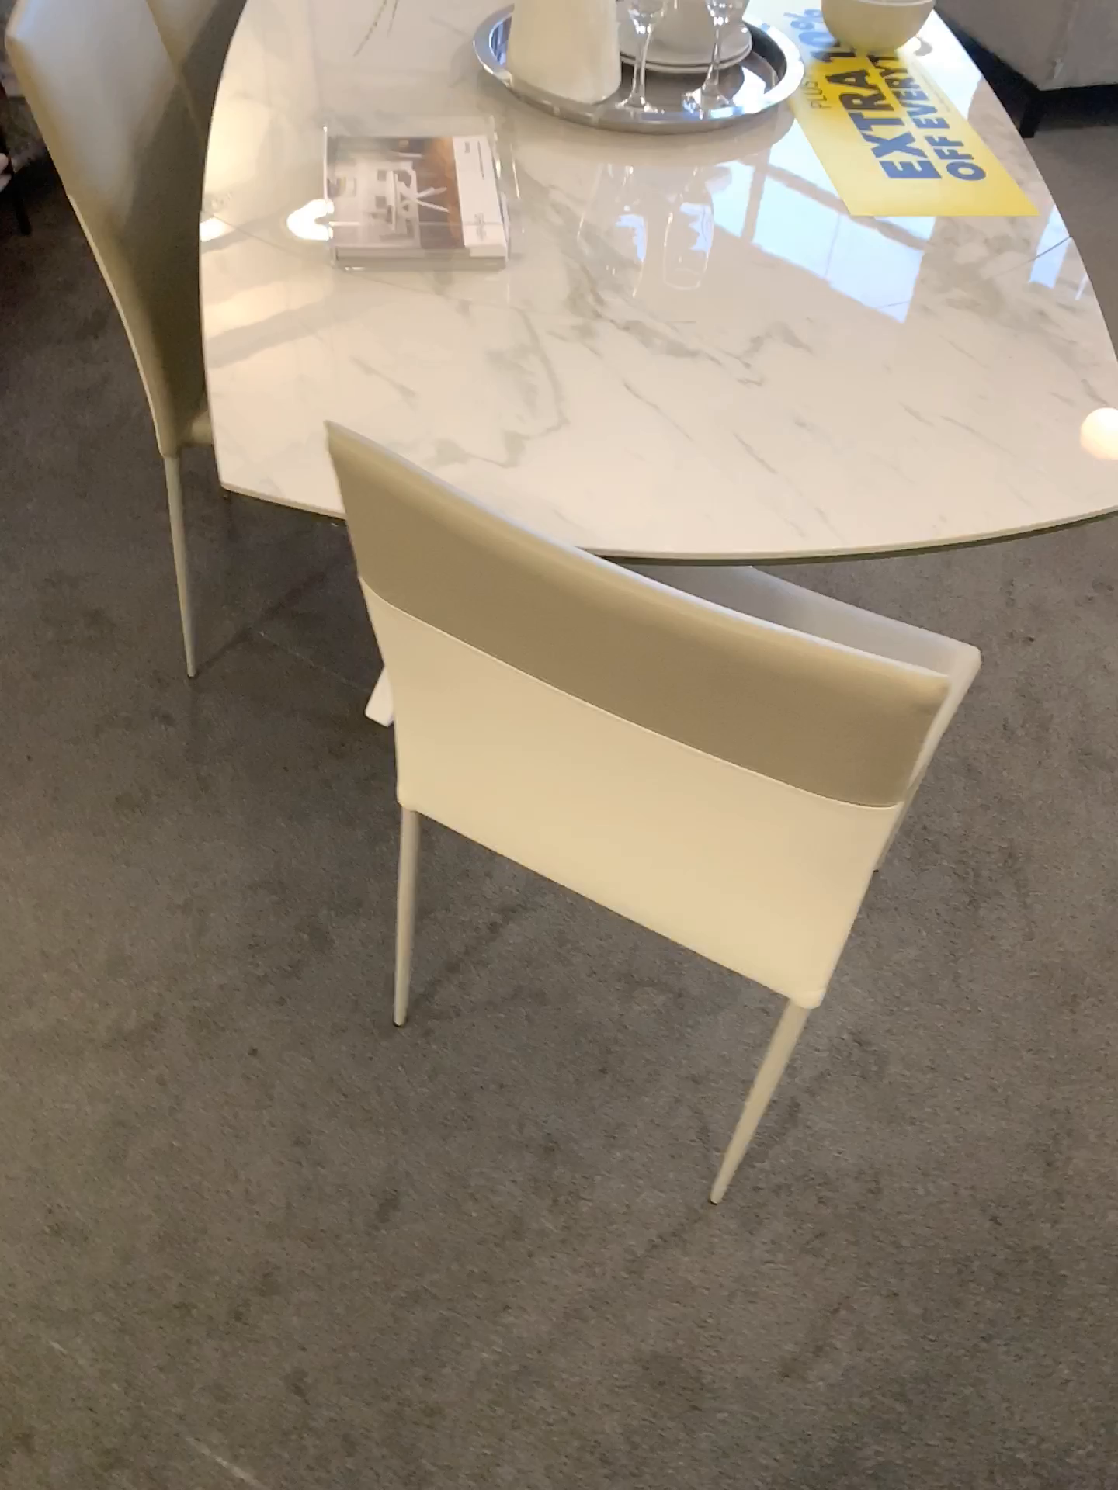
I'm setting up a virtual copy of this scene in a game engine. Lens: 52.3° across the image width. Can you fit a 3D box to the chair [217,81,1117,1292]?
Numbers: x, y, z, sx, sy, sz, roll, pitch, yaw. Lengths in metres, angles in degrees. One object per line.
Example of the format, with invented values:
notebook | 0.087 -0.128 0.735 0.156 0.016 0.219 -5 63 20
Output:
chair | 0.154 -0.012 1.060 0.533 0.823 0.585 24 53 15
